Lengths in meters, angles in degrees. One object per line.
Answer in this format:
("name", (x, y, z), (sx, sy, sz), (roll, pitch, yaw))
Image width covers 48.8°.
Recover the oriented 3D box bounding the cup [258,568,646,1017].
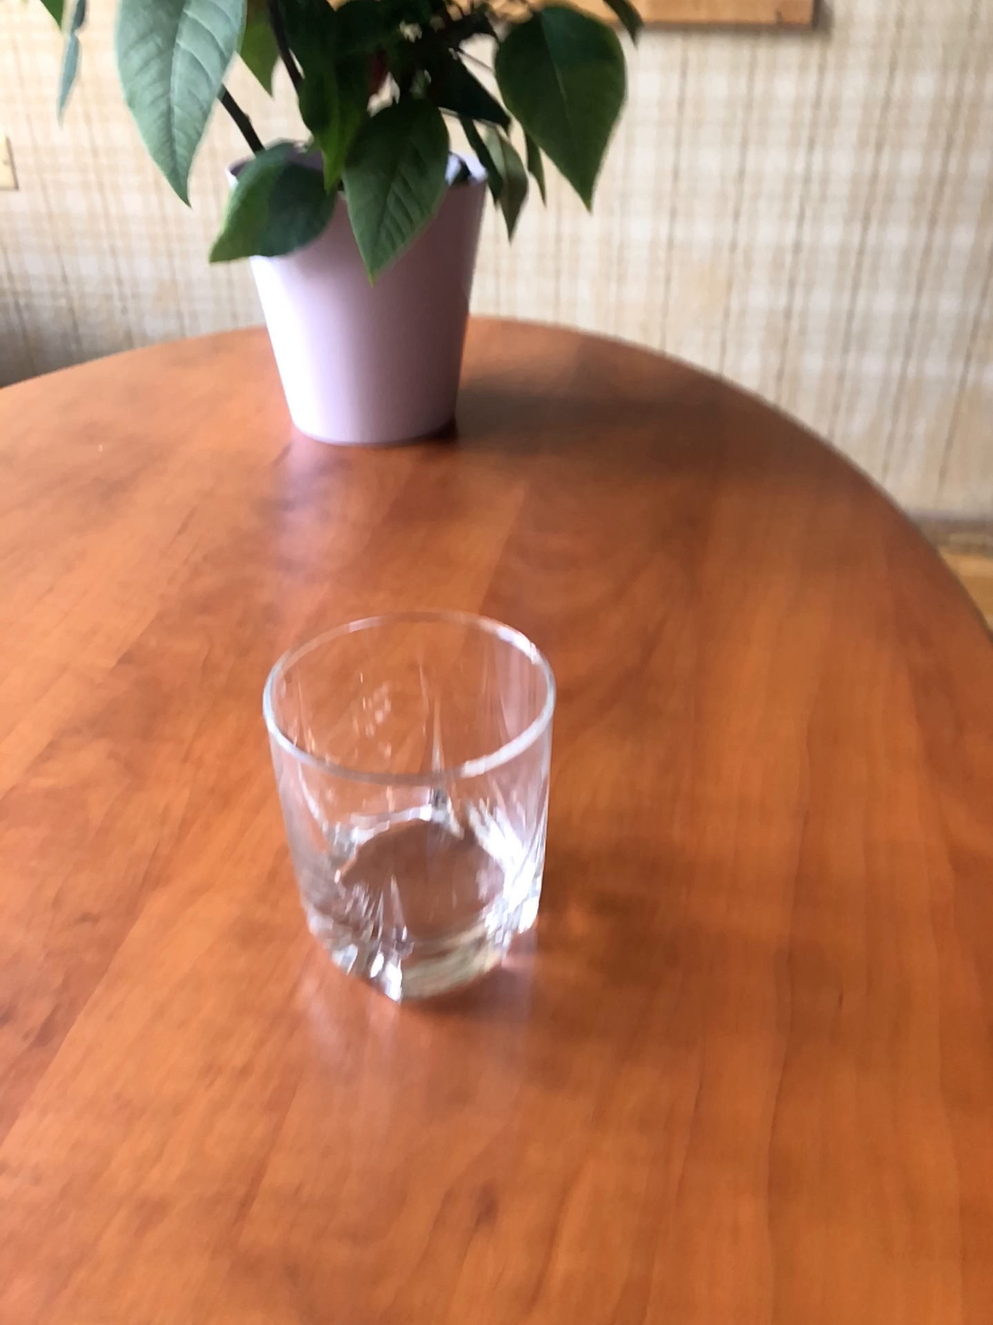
("cup", (-0.017, 0.034, 0.324), (0.094, 0.086, 0.089), (1, 33, 0))
